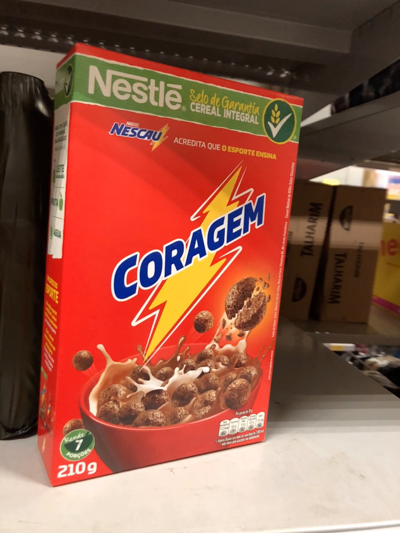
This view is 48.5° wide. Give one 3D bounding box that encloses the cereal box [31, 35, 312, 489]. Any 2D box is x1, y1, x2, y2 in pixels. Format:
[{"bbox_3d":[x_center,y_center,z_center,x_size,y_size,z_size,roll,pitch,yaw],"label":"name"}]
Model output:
[{"bbox_3d":[-0.021,0.000,0.307,0.170,0.249,0.060,0,7,-27],"label":"cereal box"}]
